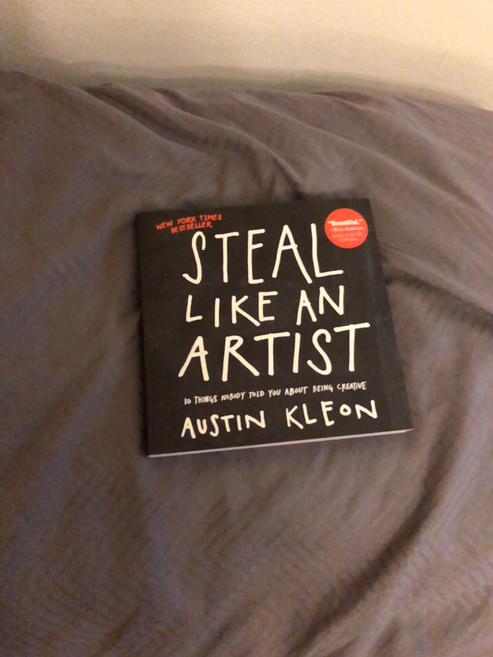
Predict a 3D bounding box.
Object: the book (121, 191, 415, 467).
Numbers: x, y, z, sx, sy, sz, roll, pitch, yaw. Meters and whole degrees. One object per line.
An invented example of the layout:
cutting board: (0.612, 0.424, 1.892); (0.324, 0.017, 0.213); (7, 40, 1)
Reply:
book: (0.008, -0.006, 0.337); (0.160, 0.020, 0.160); (-4, 73, -7)
